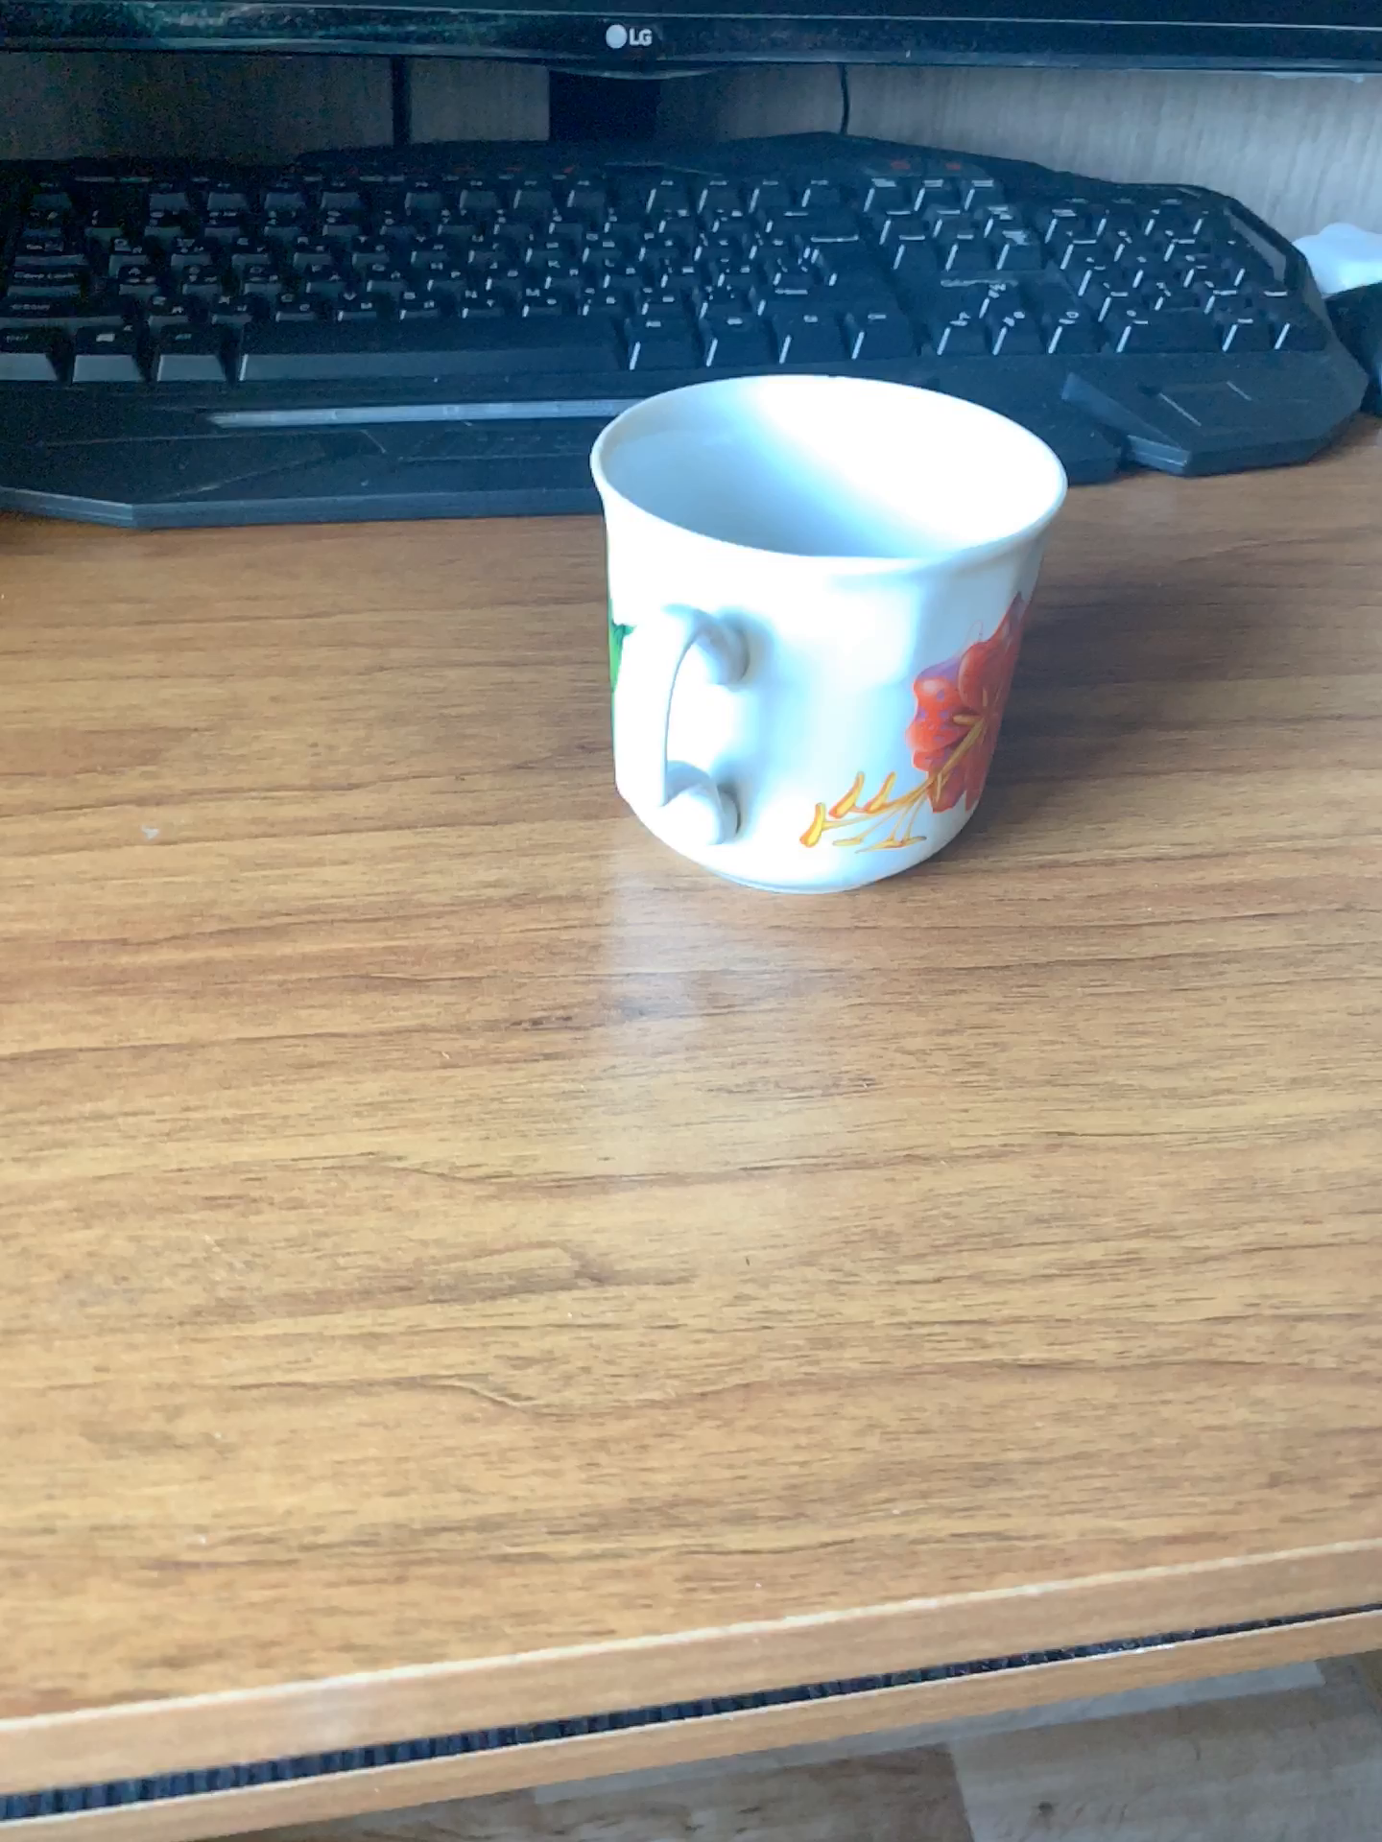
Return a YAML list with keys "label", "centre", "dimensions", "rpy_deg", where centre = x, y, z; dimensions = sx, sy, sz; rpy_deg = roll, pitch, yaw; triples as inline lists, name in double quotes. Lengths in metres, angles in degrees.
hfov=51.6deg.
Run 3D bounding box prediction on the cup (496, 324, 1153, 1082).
- label: "cup"
  centre: [0.027, -0.046, 0.256]
  dimensions: [0.070, 0.080, 0.110]
  rpy_deg: [18, 41, 19]
